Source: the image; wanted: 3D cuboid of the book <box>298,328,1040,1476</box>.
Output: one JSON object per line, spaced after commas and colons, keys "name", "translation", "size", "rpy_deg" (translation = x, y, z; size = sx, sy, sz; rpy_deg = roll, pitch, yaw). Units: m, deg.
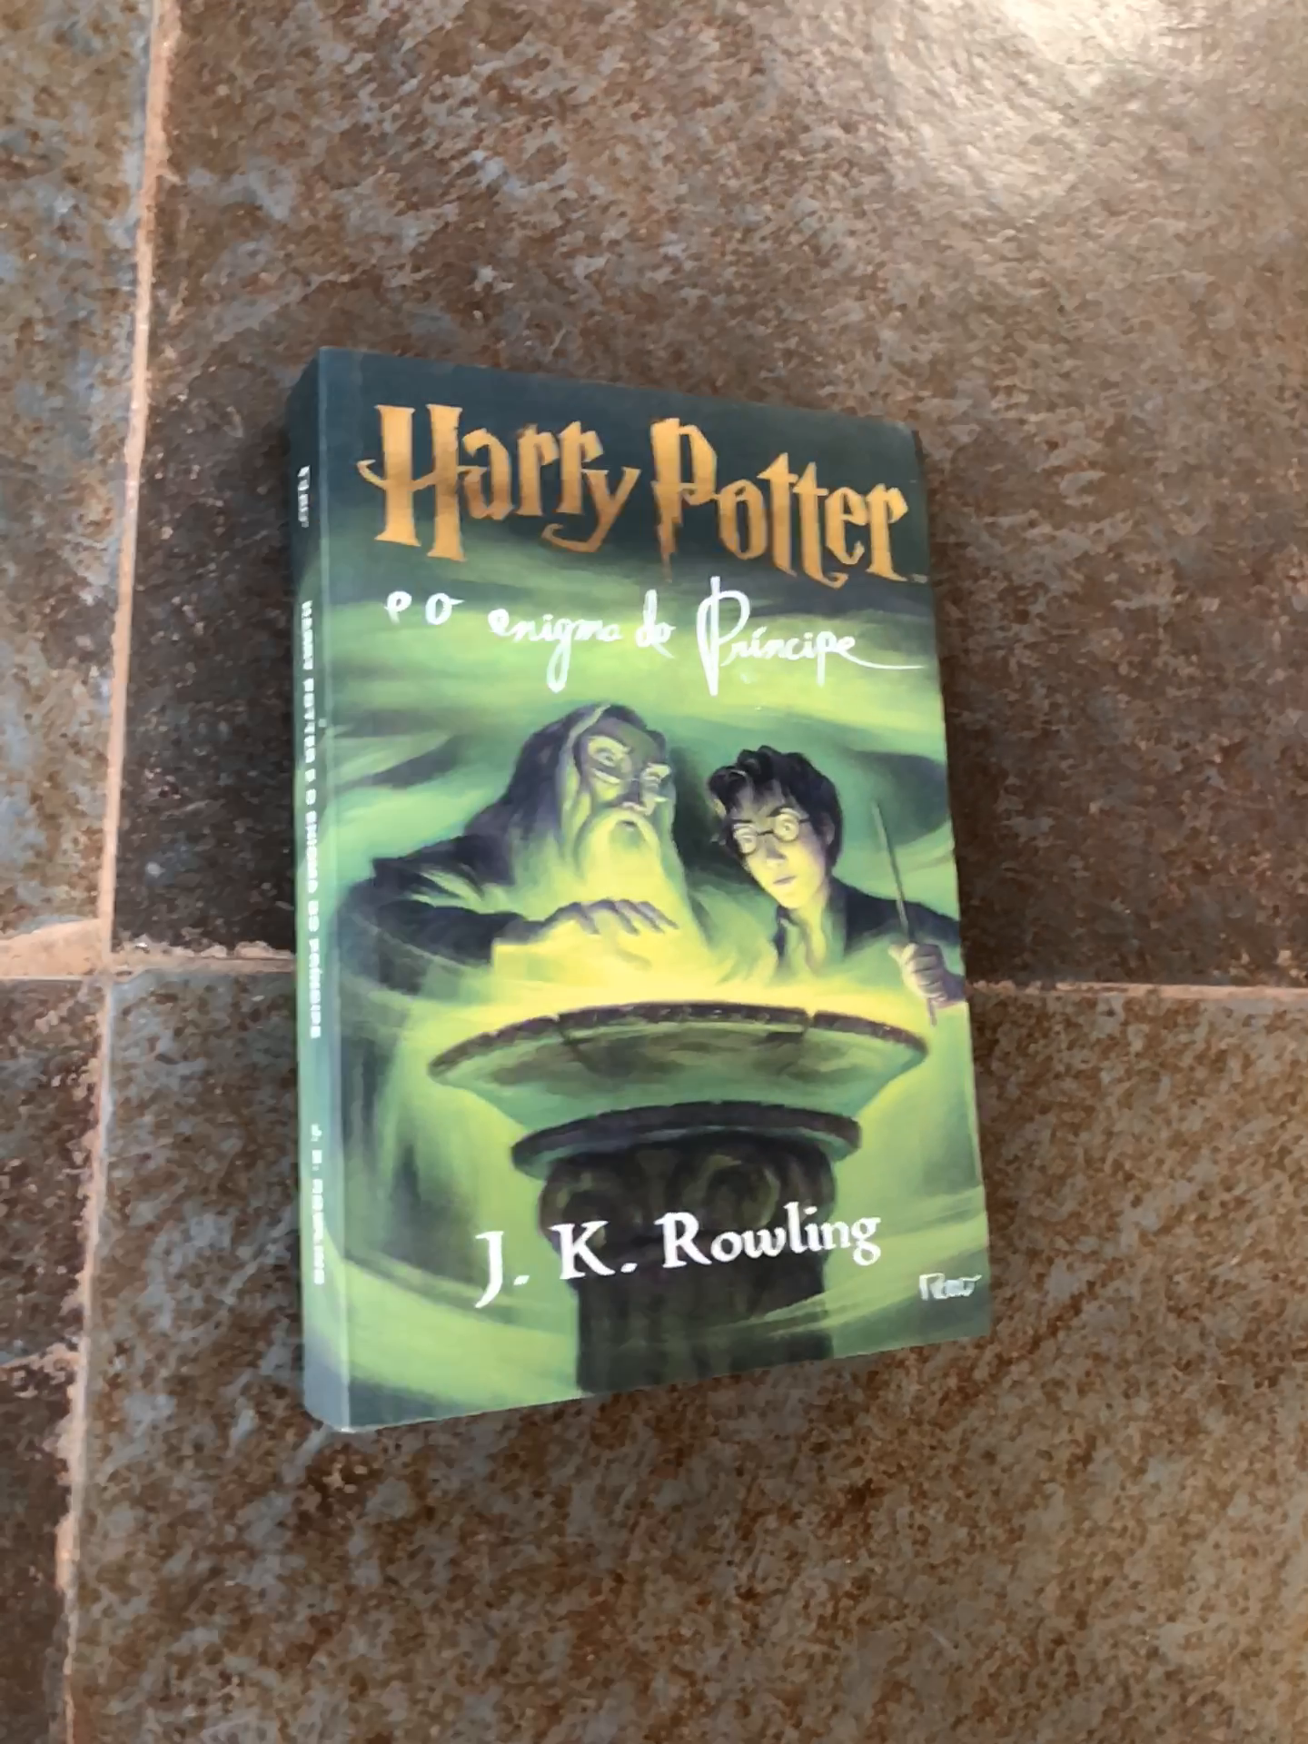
{"name": "book", "translation": [0.004, 0.003, 0.294], "size": [0.142, 0.030, 0.200], "rpy_deg": [1, 82, -24]}
